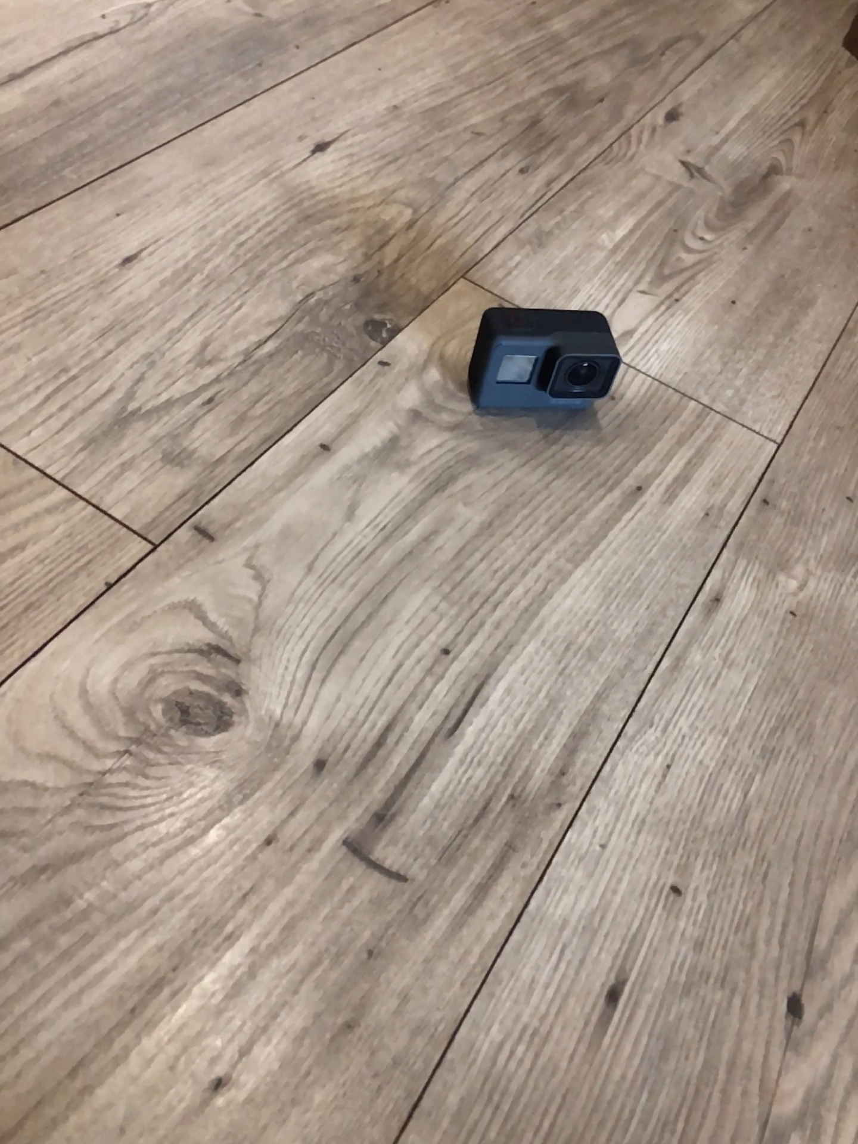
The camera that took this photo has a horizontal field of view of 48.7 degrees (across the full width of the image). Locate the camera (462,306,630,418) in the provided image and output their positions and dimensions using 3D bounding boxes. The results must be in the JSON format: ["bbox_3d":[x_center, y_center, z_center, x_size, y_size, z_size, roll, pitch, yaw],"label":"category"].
[{"bbox_3d":[0.054,-0.098,0.448,0.065,0.040,0.032,-2,54,-14],"label":"camera"}]
